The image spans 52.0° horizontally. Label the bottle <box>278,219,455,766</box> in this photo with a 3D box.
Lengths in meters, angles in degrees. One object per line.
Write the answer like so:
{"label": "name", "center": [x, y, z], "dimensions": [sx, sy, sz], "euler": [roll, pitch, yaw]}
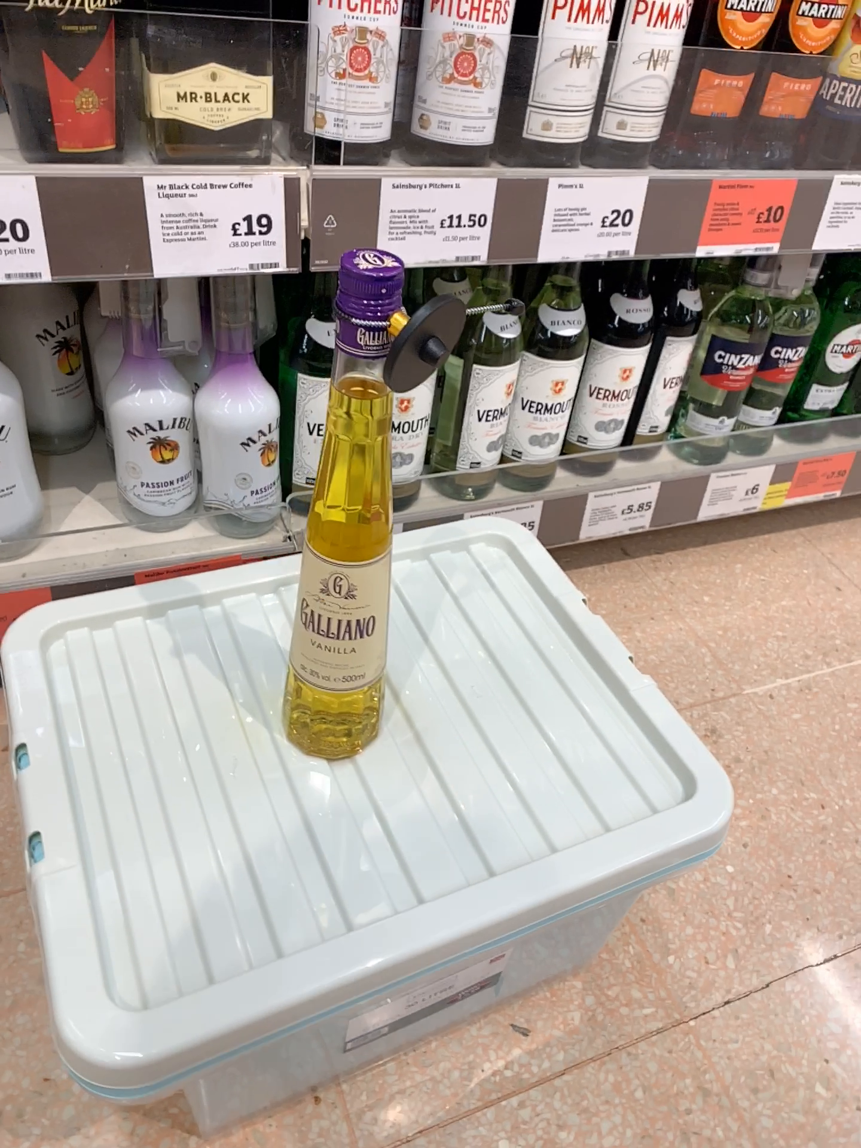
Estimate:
{"label": "bottle", "center": [-0.048, -0.021, 0.530], "dimensions": [0.072, 0.347, 0.071], "euler": [6, 41, -5]}
